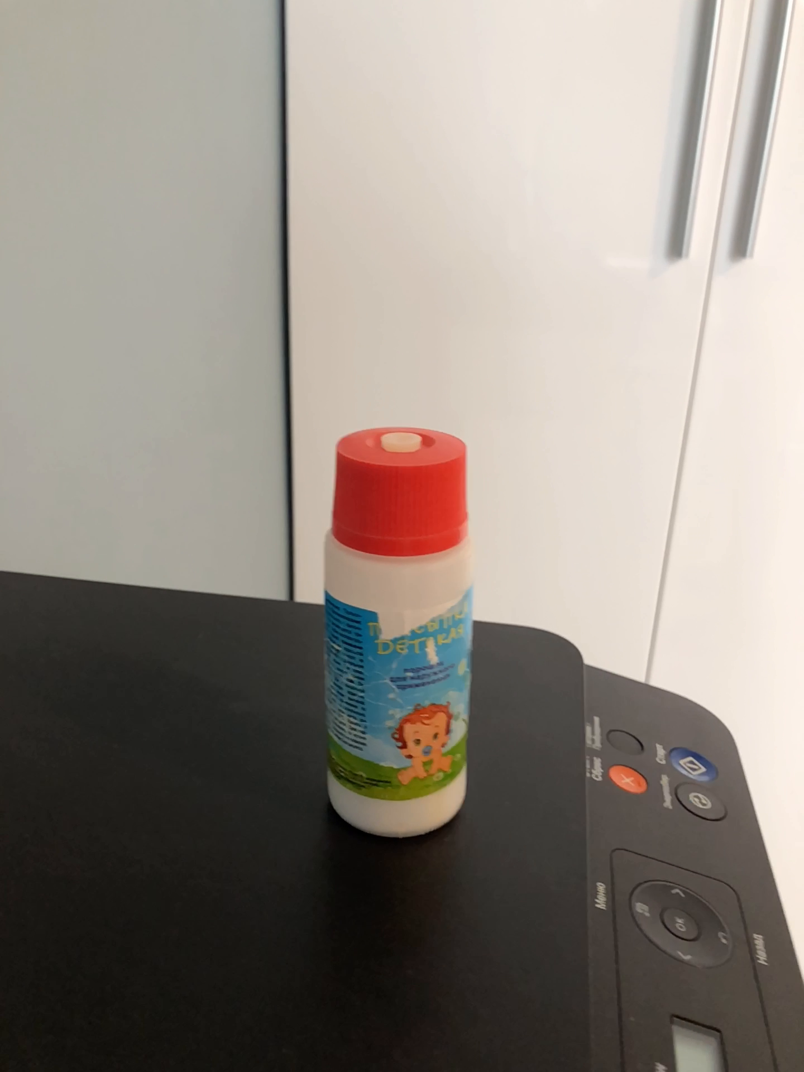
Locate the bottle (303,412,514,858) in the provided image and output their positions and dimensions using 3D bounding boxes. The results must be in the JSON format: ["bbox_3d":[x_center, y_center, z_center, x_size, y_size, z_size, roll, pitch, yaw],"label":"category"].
[{"bbox_3d":[-0.002,0.027,0.253,0.042,0.112,0.044,2,21,-1],"label":"bottle"}]
